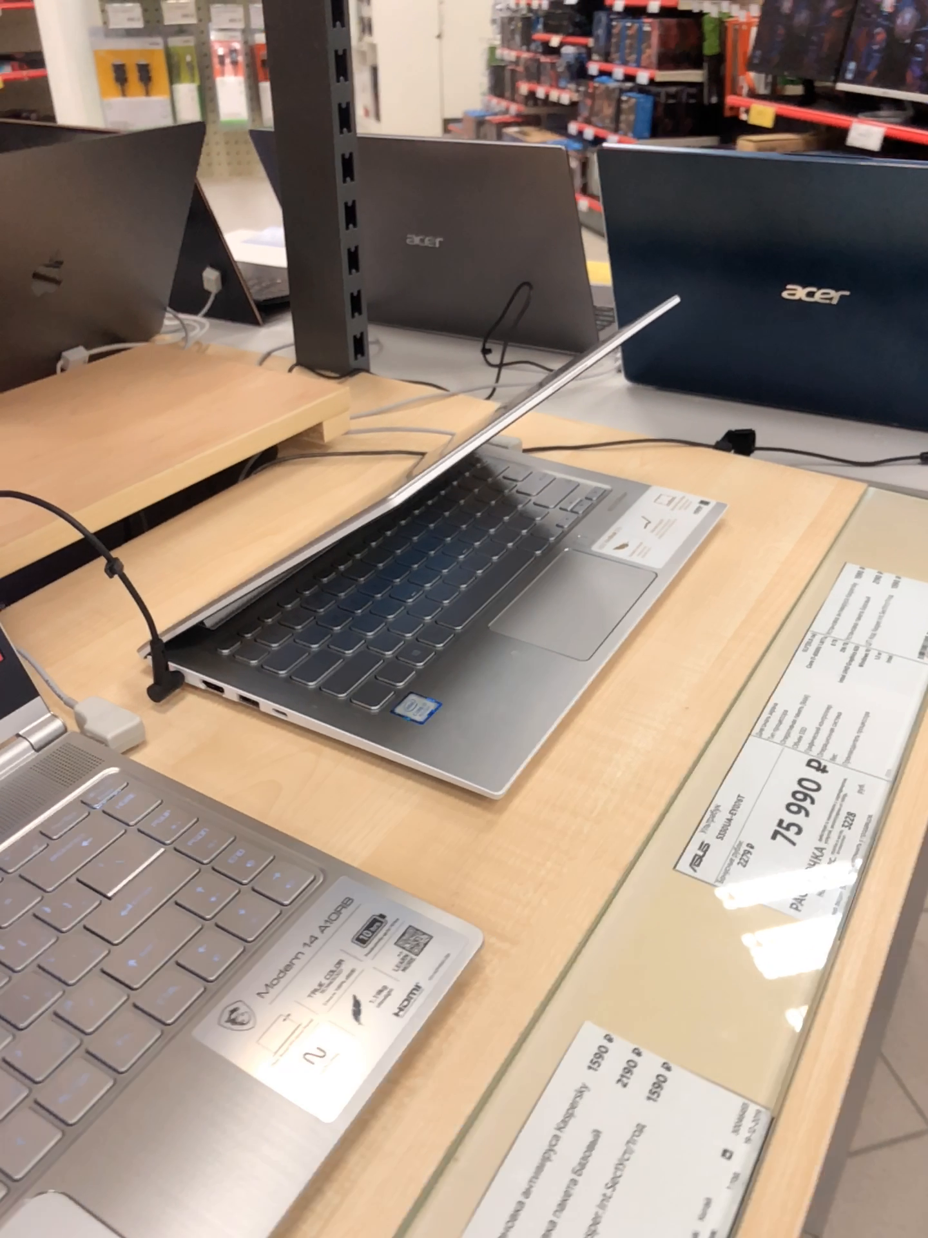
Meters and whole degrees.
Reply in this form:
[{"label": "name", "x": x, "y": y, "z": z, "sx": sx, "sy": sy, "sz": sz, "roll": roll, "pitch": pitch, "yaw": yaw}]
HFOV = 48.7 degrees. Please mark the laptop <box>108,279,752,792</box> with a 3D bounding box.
[{"label": "laptop", "x": 0.006, "y": -0.077, "z": 0.554, "sx": 0.197, "sy": 0.119, "sz": 0.310, "roll": 17, "pitch": 35, "yaw": 25}]
